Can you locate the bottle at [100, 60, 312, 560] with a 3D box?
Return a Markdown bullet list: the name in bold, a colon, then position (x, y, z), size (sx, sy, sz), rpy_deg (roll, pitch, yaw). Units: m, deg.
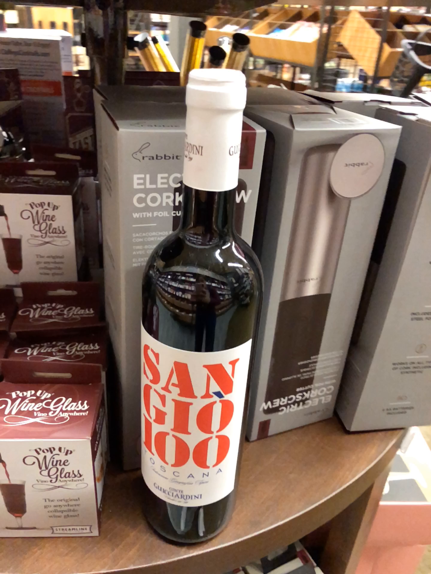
- **bottle**: position (-0.009, 0.035, 0.296), size (0.083, 0.309, 0.080), rpy_deg (2, 29, -1)
